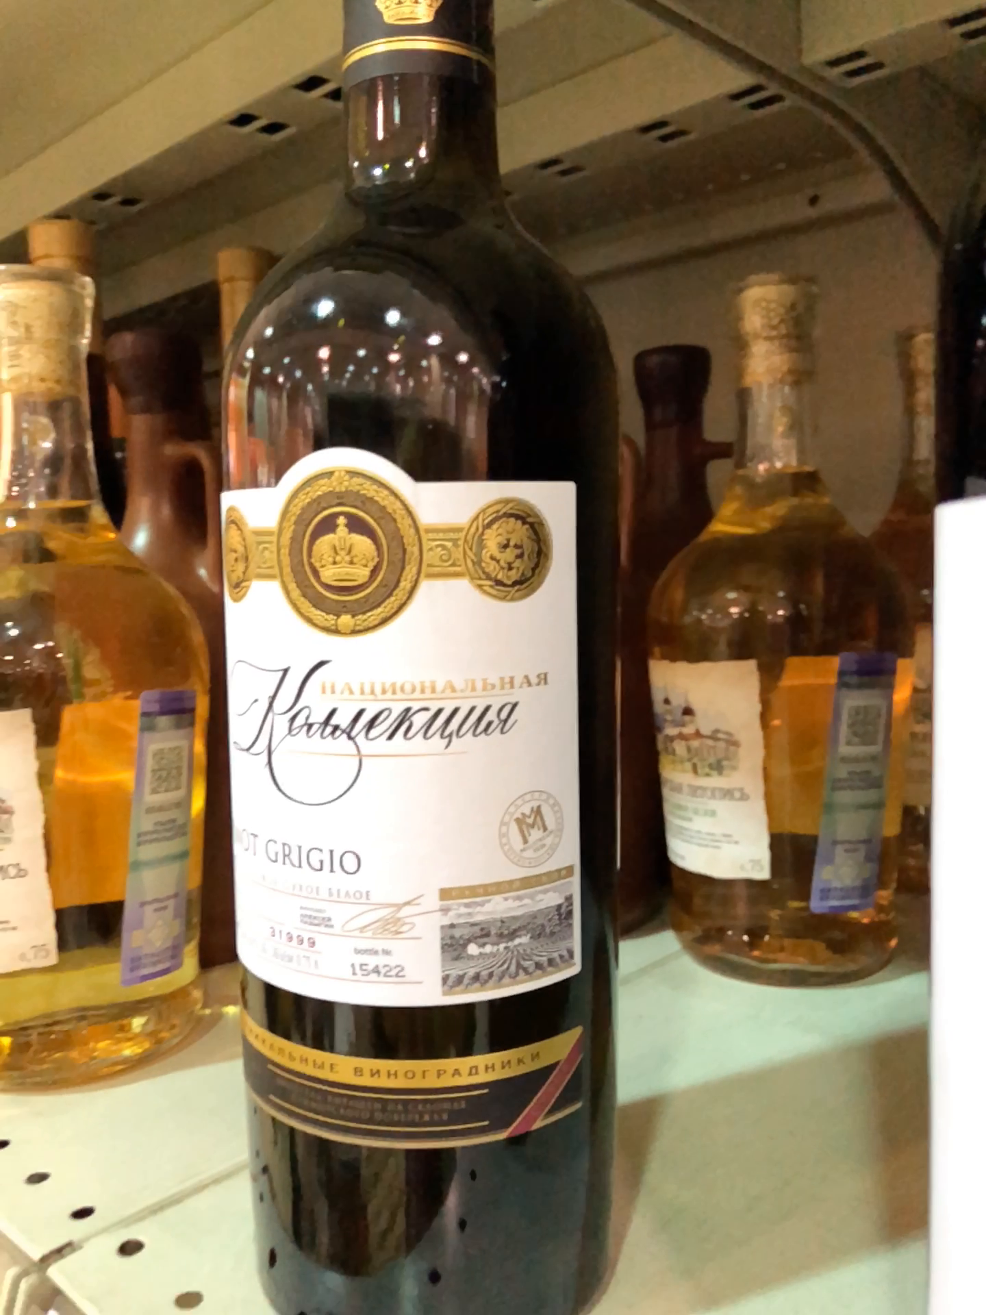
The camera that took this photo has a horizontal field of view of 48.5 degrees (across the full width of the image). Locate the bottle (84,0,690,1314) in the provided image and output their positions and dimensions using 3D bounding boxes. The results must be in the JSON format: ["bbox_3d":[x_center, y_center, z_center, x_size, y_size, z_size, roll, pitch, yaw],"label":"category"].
[{"bbox_3d":[-0.012,-0.029,0.234,0.090,0.320,0.090,-1,4,0],"label":"bottle"}]
